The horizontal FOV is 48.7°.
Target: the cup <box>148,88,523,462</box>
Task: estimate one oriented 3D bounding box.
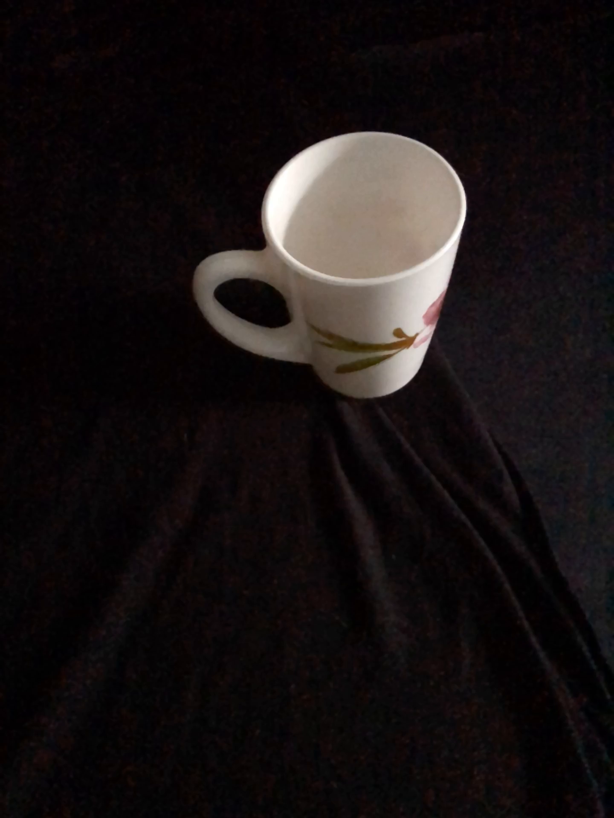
[{"bbox_3d":[0.007,-0.056,0.324,0.125,0.130,0.090,-15,65,-8],"label":"cup"}]
